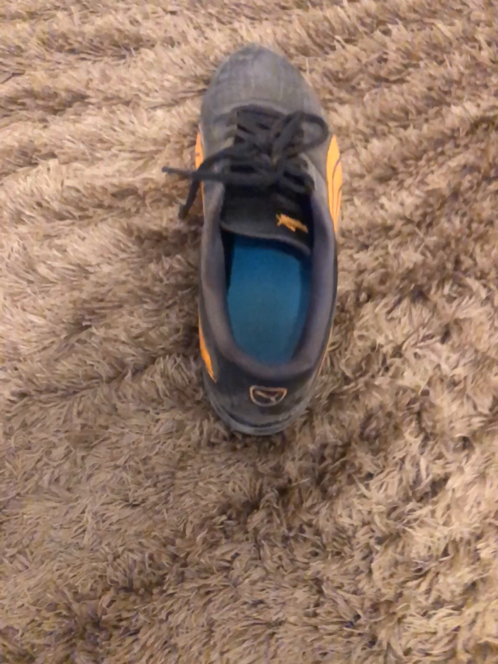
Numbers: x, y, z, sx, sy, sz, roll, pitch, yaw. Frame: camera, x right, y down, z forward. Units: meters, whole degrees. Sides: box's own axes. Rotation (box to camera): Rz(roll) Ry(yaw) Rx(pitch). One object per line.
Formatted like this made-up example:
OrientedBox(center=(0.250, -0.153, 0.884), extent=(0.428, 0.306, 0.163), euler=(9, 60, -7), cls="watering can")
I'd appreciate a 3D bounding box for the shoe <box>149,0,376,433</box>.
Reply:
OrientedBox(center=(0.005, -0.087, 0.383), extent=(0.122, 0.110, 0.301), euler=(3, 77, -7), cls="shoe")
